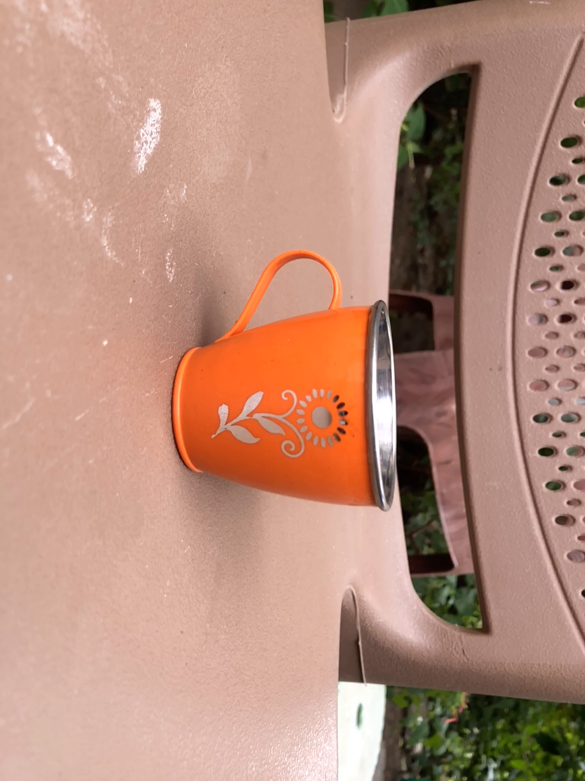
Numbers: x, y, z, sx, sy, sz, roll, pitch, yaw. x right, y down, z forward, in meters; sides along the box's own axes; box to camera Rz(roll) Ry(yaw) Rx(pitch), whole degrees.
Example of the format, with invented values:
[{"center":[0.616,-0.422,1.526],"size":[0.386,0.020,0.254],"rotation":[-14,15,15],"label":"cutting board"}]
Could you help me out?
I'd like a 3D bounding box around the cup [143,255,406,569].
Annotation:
[{"center":[-0.001,0.002,0.196],"size":[0.050,0.060,0.080],"rotation":[-29,118,-68],"label":"cup"}]
